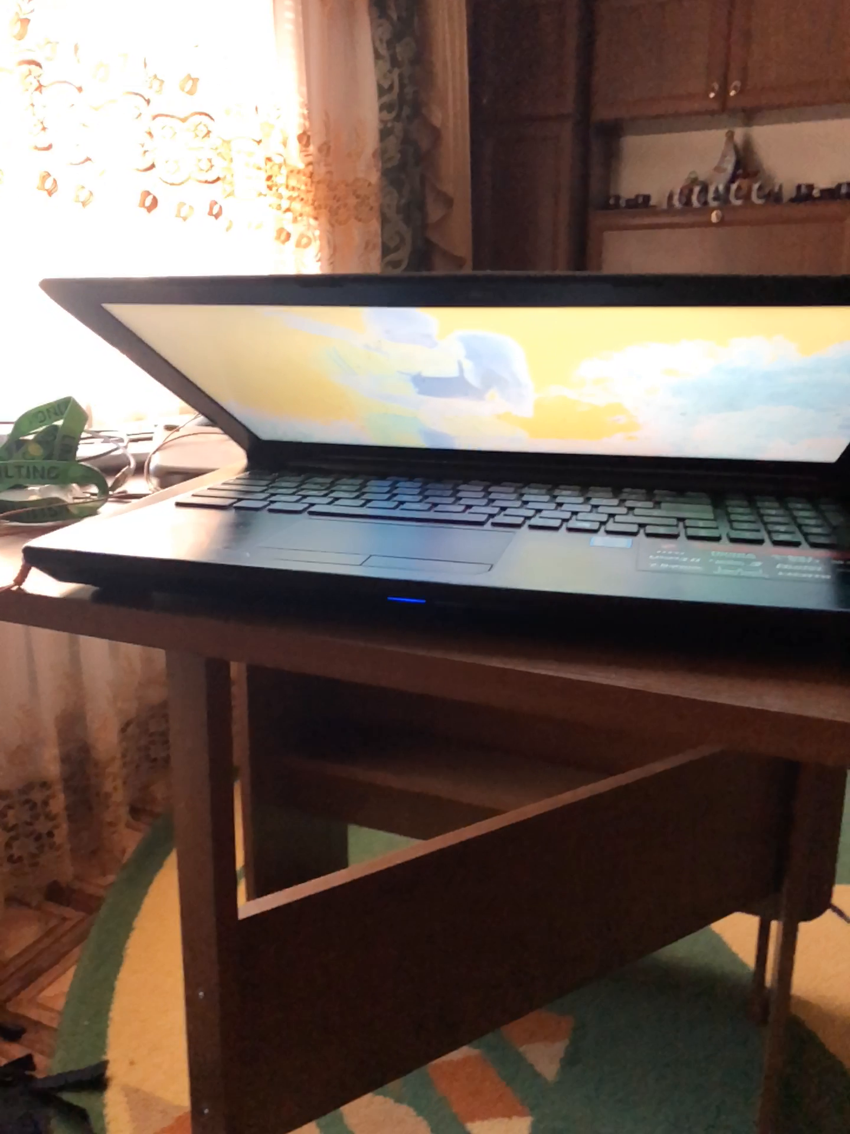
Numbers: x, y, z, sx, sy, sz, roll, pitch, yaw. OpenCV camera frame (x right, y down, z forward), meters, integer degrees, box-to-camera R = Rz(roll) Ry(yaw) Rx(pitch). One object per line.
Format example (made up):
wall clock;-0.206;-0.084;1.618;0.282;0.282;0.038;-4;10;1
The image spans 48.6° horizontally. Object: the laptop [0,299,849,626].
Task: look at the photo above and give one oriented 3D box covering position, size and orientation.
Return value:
laptop;0.033;-0.073;0.439;0.372;0.095;0.239;4;16;15
